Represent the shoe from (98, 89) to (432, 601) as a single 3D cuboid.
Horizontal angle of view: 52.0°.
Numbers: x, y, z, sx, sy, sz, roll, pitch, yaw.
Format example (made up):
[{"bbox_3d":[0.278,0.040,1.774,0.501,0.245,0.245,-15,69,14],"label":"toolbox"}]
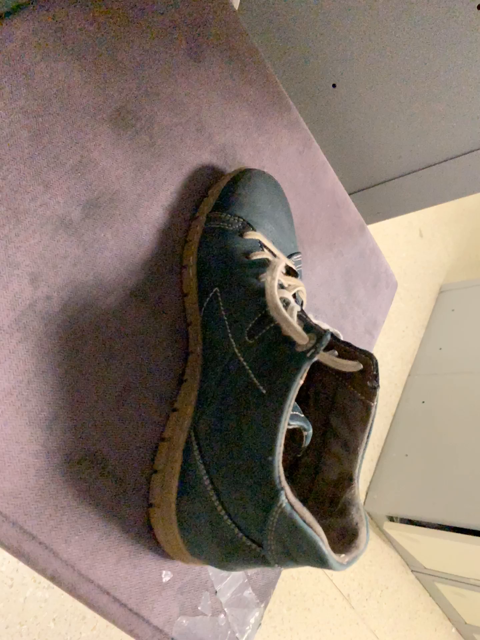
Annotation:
[{"bbox_3d":[0.024,0.017,0.305,0.104,0.142,0.245,26,64,-39],"label":"shoe"}]
